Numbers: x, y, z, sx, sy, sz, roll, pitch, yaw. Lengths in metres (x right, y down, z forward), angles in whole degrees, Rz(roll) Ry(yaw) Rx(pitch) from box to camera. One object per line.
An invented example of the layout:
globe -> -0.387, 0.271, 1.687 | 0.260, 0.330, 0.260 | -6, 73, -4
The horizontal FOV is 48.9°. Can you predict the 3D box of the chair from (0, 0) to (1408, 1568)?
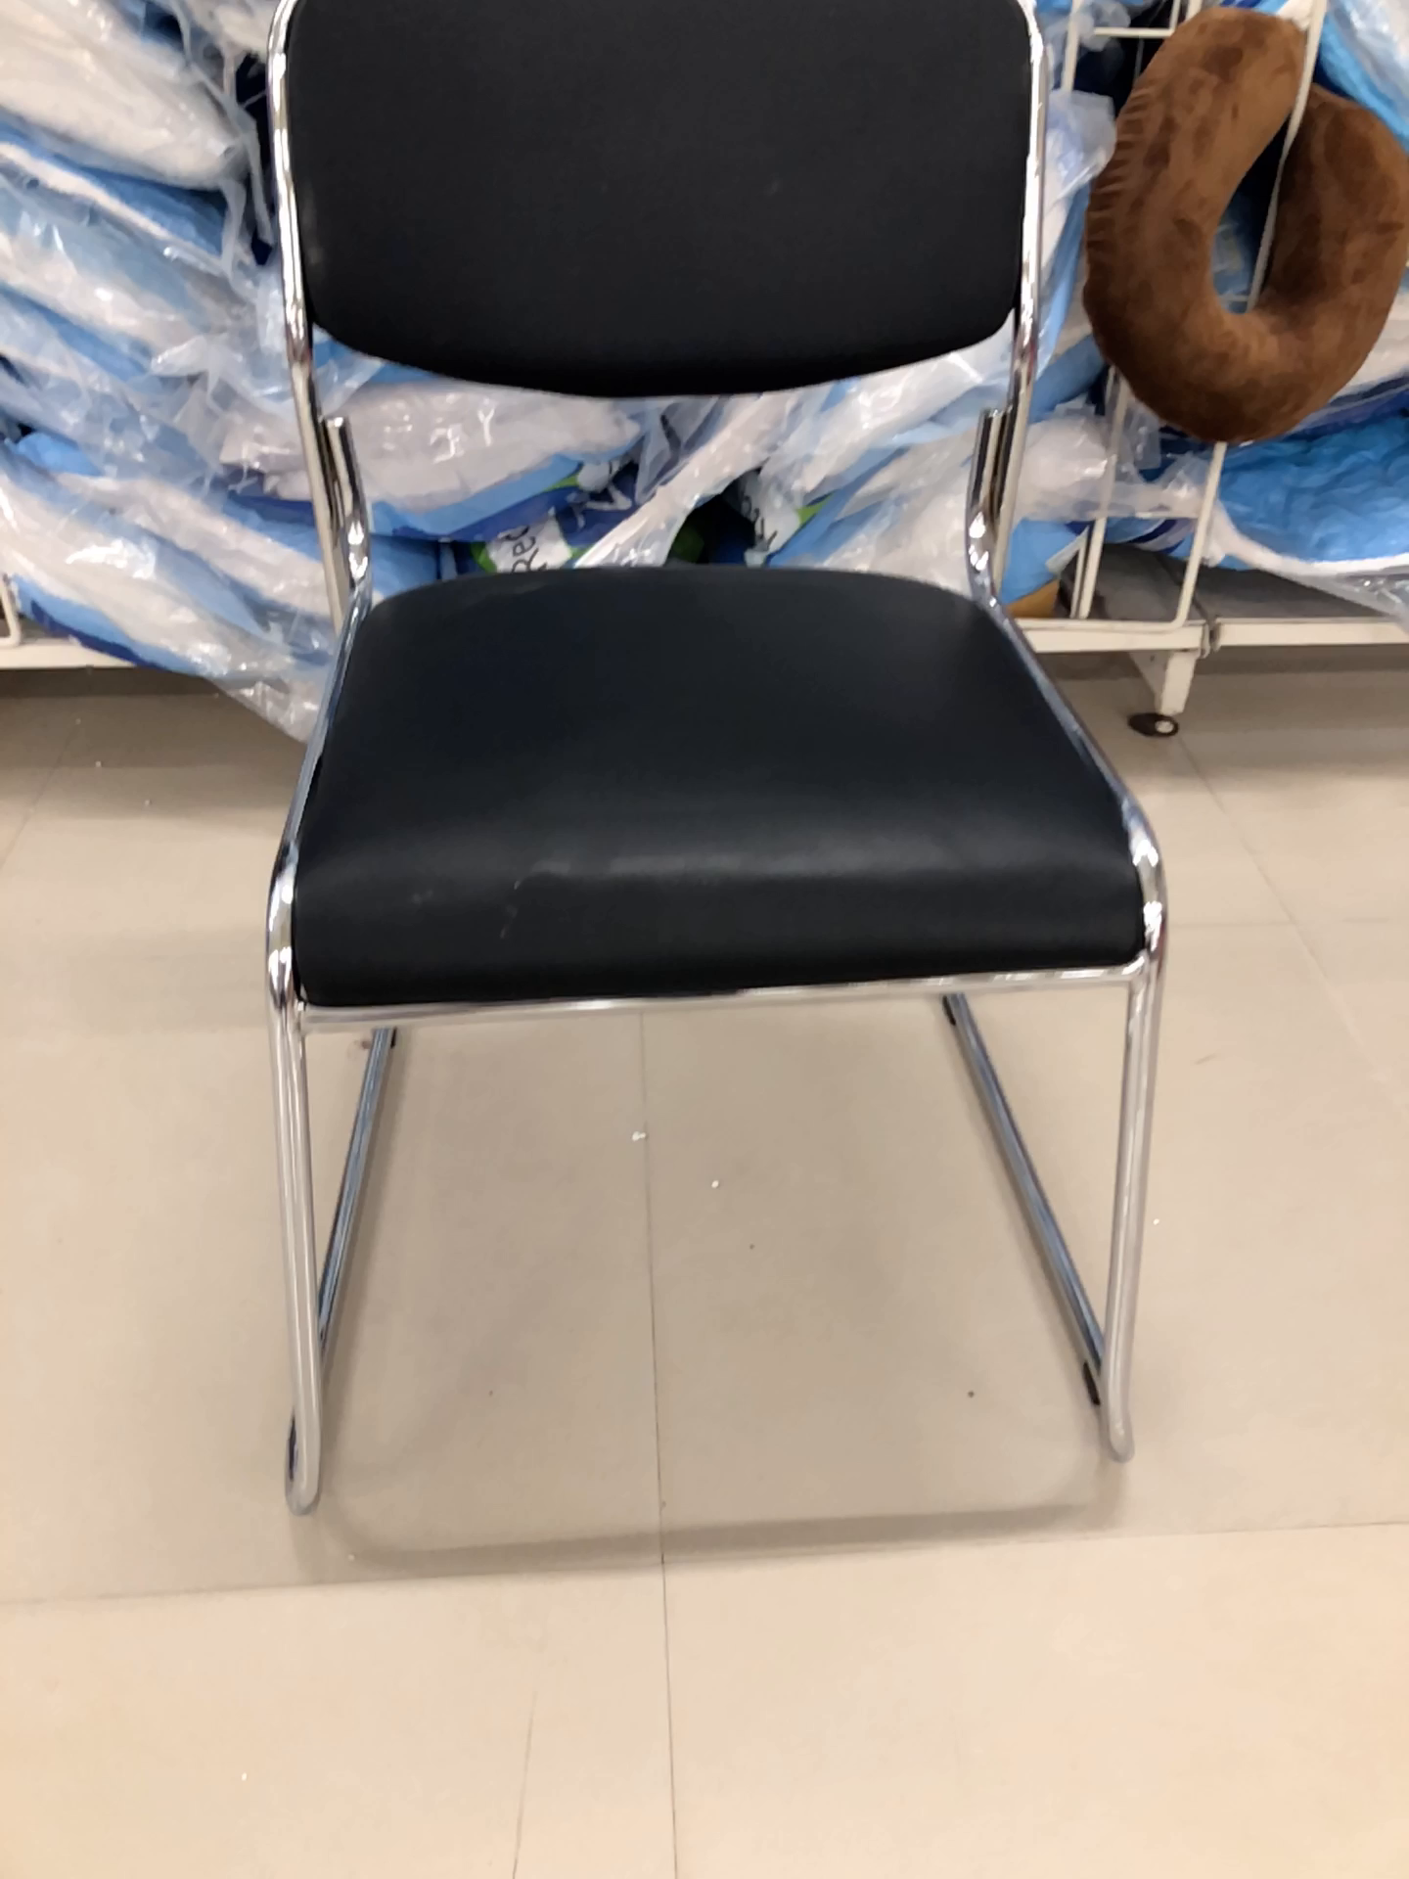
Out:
chair -> 0.008, -0.148, 0.853 | 0.570, 0.794, 0.564 | 0, 36, -3
